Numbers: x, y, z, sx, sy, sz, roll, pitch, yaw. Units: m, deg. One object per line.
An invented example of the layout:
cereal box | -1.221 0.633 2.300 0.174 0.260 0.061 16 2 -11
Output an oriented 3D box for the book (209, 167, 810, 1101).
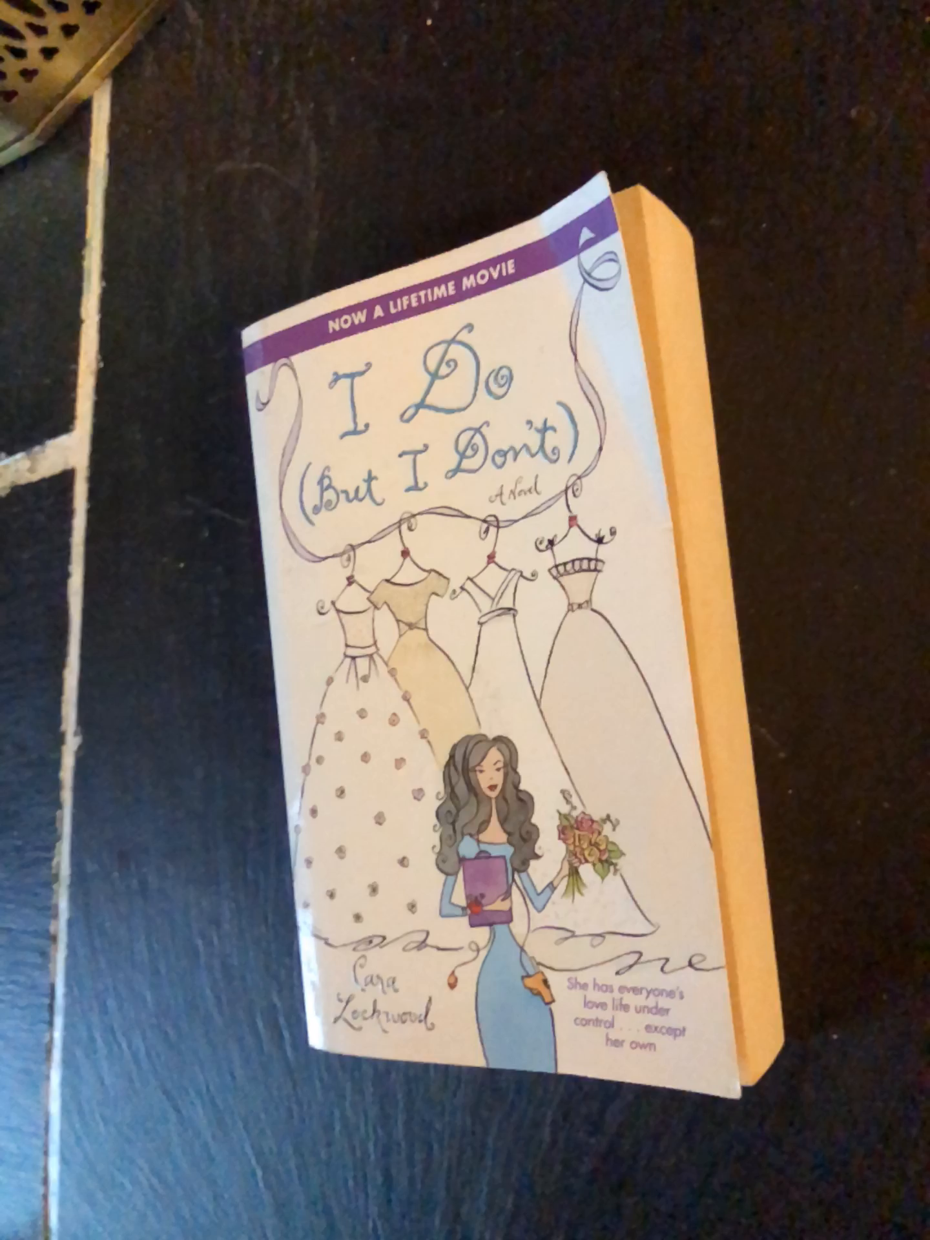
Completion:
book | 0.004 0.007 0.223 0.111 0.032 0.164 -8 86 31
